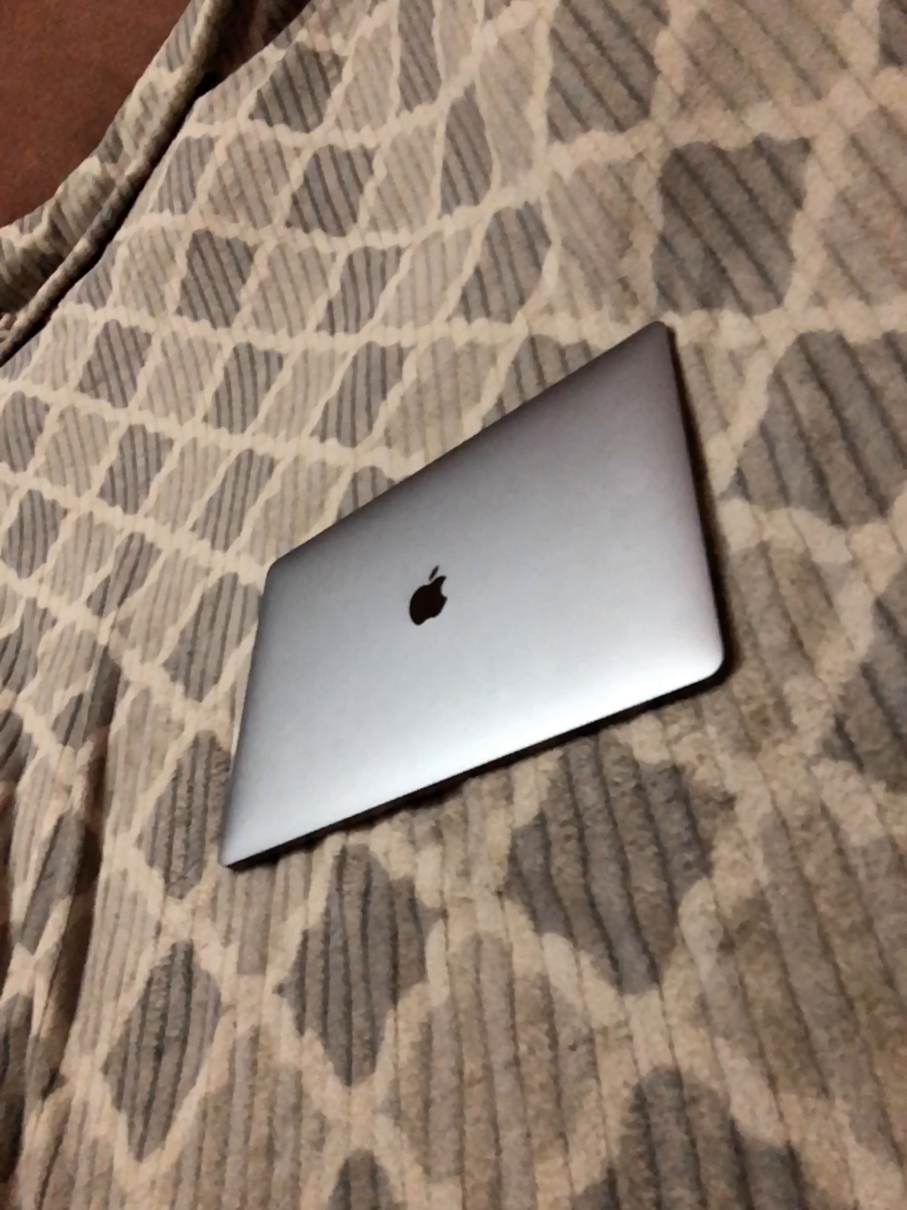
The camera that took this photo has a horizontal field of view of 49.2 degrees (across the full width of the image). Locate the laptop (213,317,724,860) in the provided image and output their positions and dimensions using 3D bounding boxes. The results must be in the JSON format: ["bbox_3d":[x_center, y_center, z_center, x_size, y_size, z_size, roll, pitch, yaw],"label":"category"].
[{"bbox_3d":[-0.015,-0.003,0.608,0.358,0.007,0.246,-27,44,33],"label":"laptop"}]
